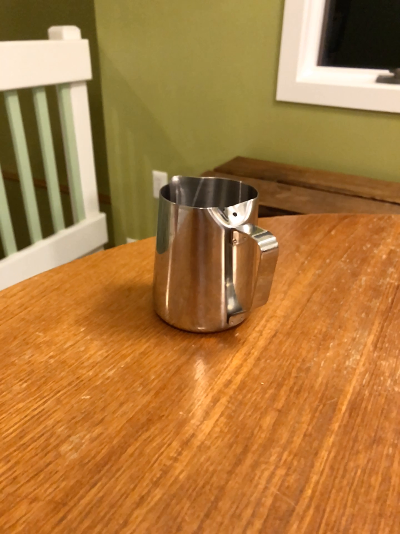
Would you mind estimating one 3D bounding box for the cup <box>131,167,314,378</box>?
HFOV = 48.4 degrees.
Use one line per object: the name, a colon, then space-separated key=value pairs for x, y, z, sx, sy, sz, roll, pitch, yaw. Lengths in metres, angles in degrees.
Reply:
cup: x=0.010 y=-0.006 z=0.375 sx=0.083 sy=0.114 sz=0.136 roll=-15 pitch=32 yaw=-27
